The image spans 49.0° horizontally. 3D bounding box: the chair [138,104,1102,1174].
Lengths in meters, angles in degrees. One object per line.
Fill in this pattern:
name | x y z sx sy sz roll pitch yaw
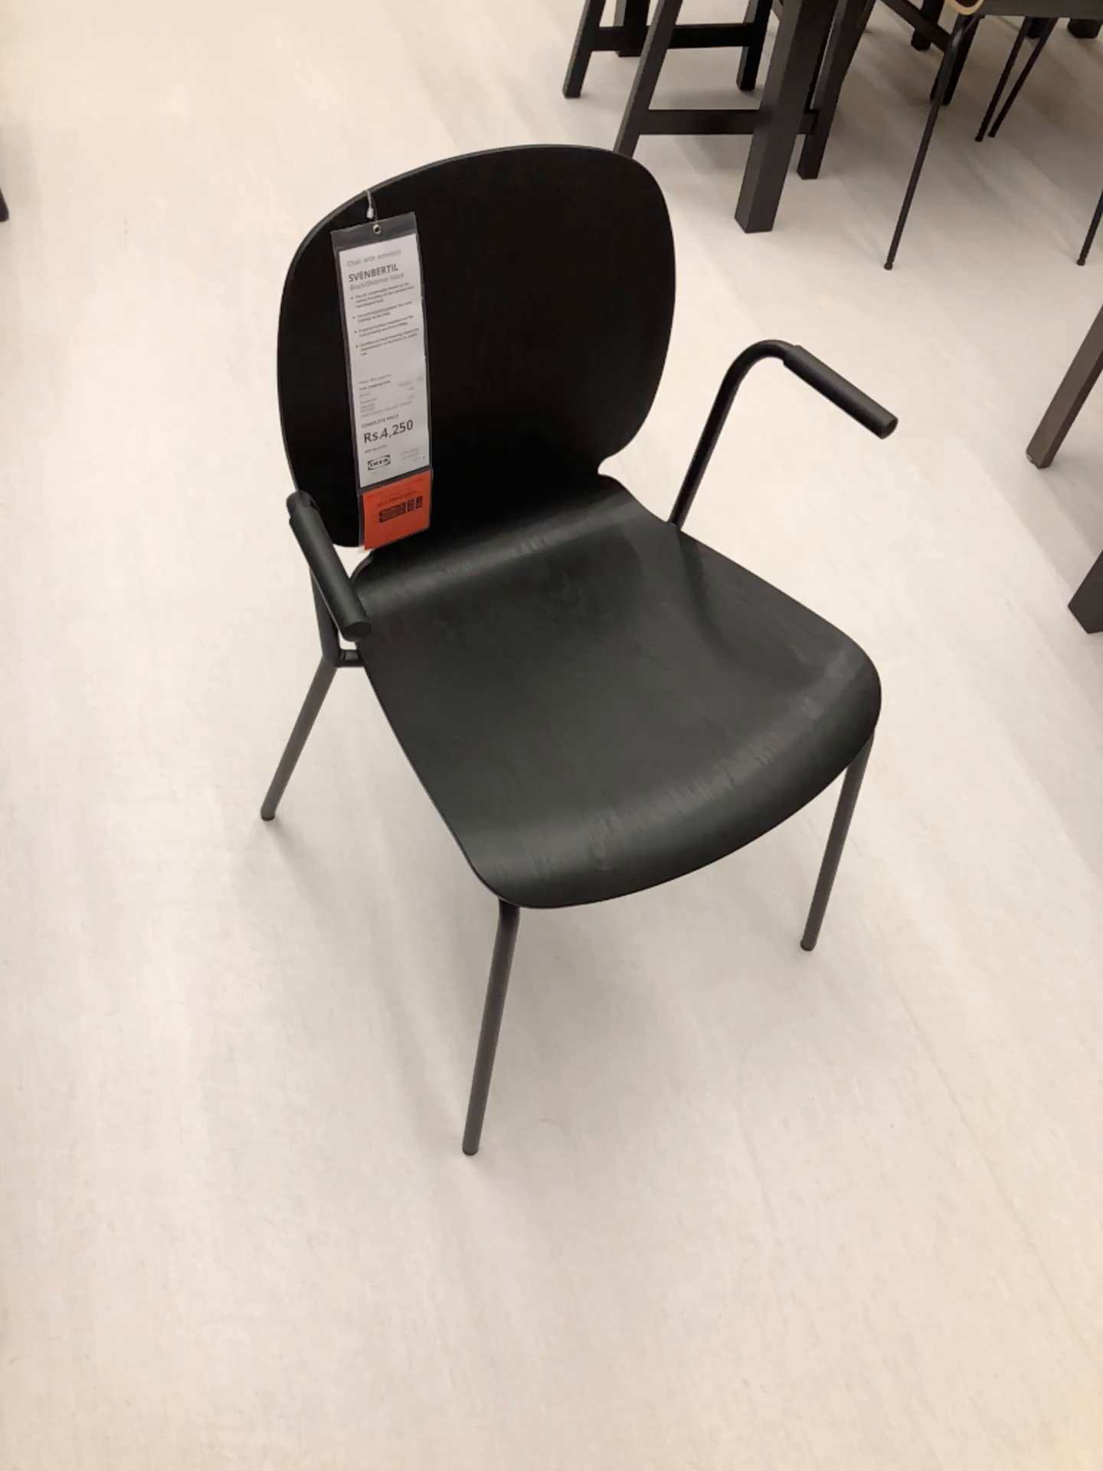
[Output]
chair | 0.024 -0.078 1.158 0.531 0.686 0.582 -23 59 -22
